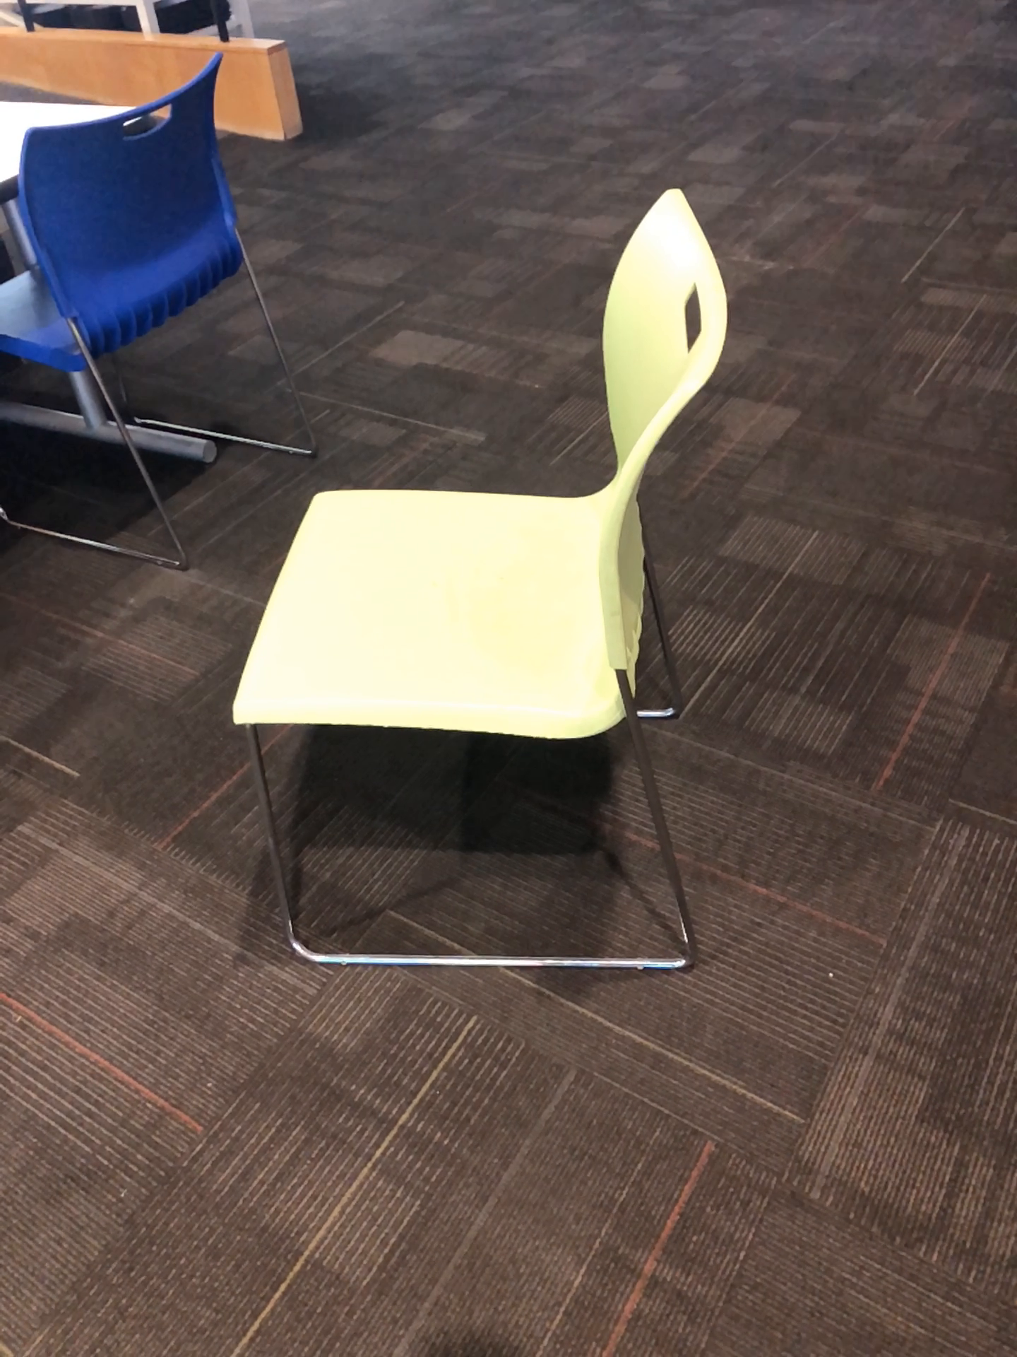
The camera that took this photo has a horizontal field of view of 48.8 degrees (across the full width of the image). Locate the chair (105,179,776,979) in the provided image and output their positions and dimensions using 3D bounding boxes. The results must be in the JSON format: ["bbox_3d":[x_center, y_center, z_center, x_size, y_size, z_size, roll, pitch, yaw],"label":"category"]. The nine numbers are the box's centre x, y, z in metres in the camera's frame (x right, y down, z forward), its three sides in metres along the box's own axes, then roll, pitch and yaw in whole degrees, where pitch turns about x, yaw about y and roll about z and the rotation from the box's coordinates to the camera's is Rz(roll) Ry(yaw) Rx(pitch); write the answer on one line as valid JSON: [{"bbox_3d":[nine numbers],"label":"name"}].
[{"bbox_3d":[-0.013,-0.099,1.339,0.540,0.756,0.543,-1,40,6],"label":"chair"}]
